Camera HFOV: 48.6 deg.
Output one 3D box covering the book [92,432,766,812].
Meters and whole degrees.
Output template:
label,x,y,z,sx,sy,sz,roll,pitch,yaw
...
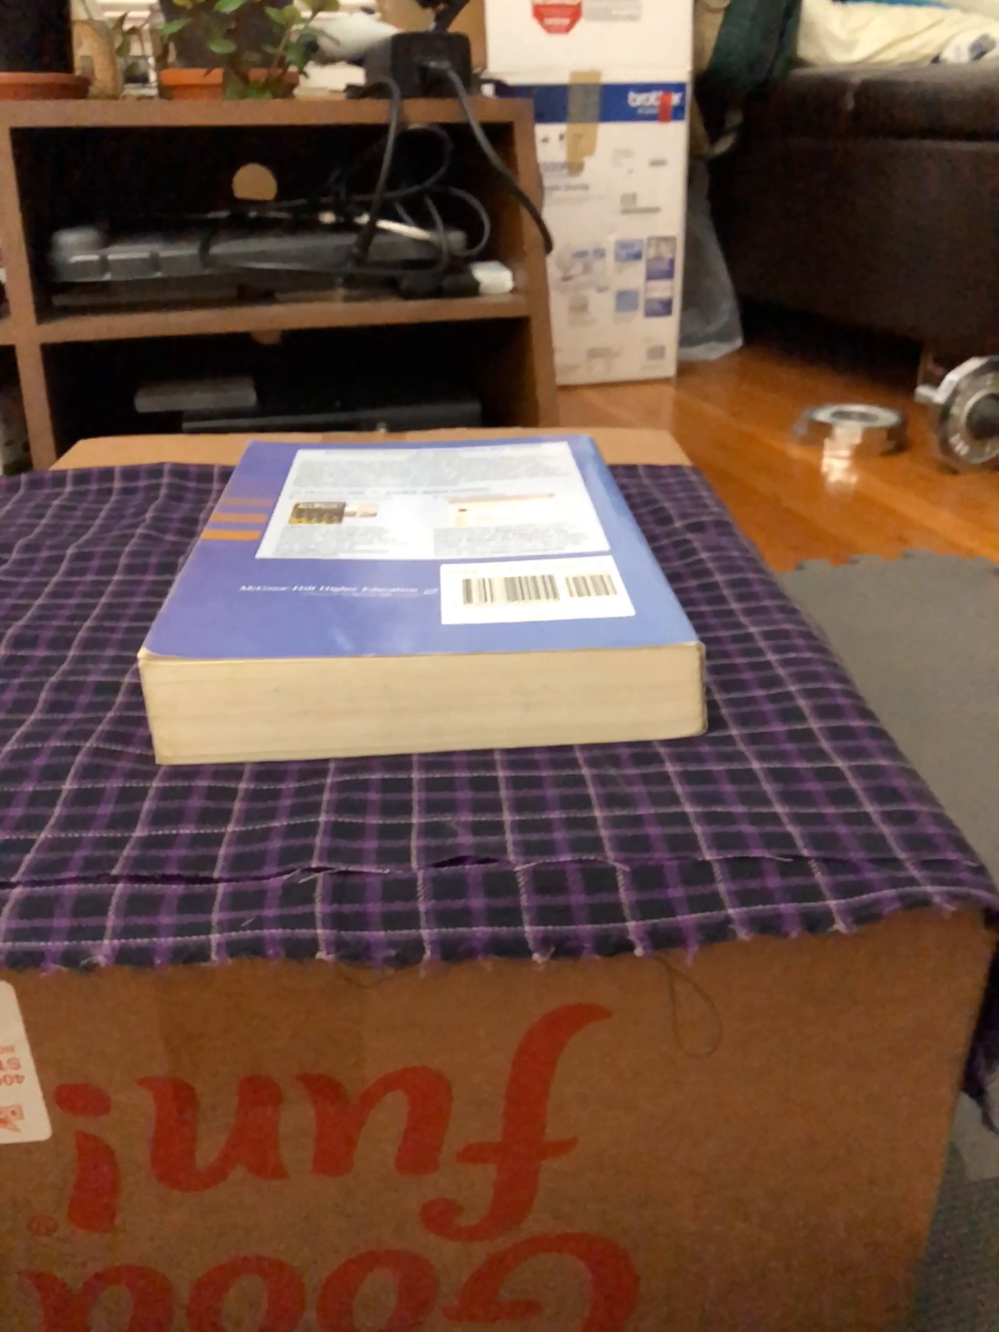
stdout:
label,x,y,z,sx,sy,sz,roll,pitch,yaw
book,-0.027,-0.035,0.412,0.180,0.040,0.241,-3,26,-4
